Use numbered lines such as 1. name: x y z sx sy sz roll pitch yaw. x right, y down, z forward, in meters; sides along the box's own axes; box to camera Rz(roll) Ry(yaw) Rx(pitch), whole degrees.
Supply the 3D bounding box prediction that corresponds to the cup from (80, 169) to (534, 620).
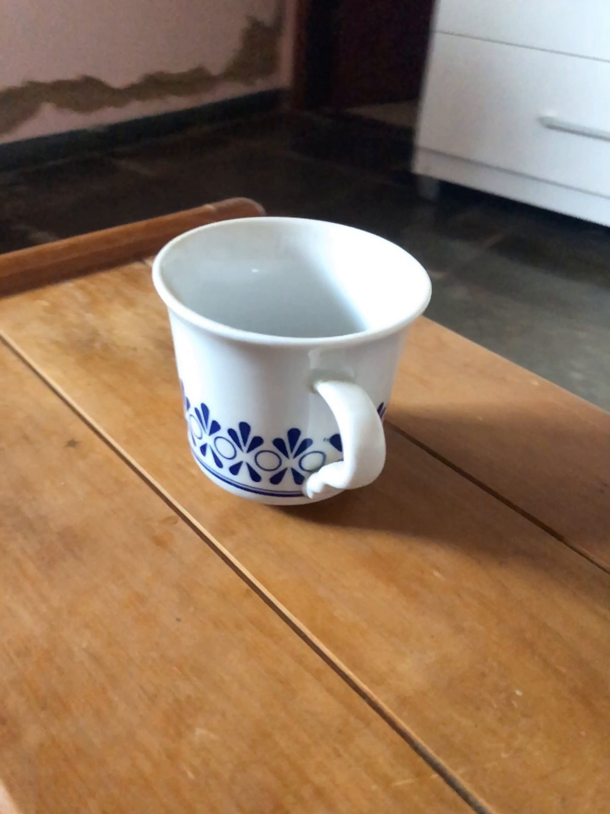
1. cup: -0.013 -0.018 0.229 0.100 0.079 0.131 -9 38 -18
